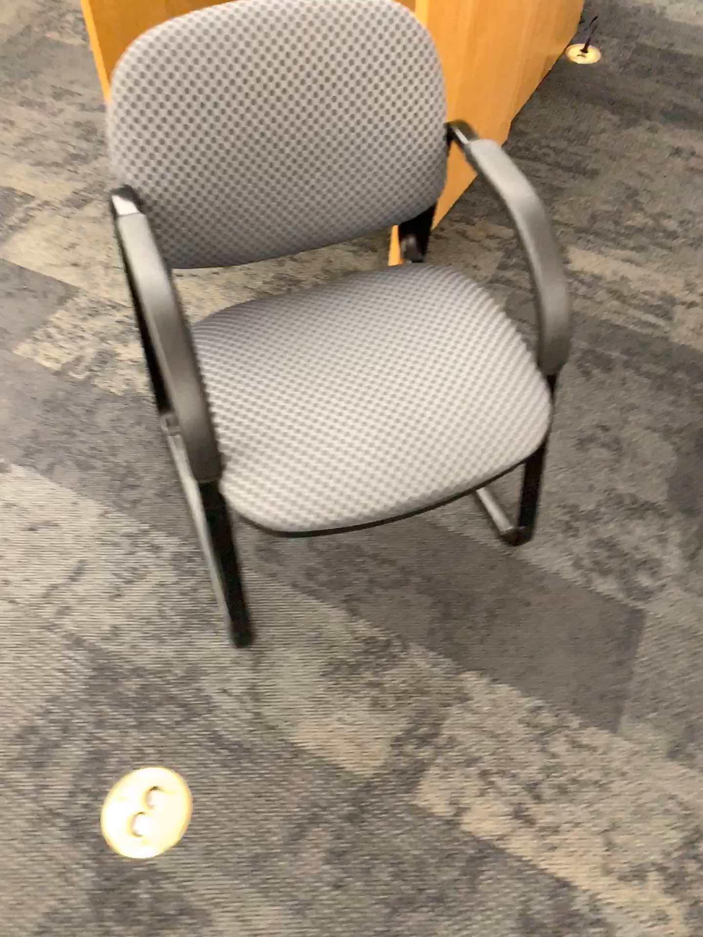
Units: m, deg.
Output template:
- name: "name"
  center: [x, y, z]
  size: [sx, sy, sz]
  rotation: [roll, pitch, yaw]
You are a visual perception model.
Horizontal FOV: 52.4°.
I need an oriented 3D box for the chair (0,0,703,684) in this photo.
- name: "chair"
  center: [-0.060, -0.234, 1.132]
  size: [0.730, 0.678, 0.722]
  rotation: [-17, 58, -14]
